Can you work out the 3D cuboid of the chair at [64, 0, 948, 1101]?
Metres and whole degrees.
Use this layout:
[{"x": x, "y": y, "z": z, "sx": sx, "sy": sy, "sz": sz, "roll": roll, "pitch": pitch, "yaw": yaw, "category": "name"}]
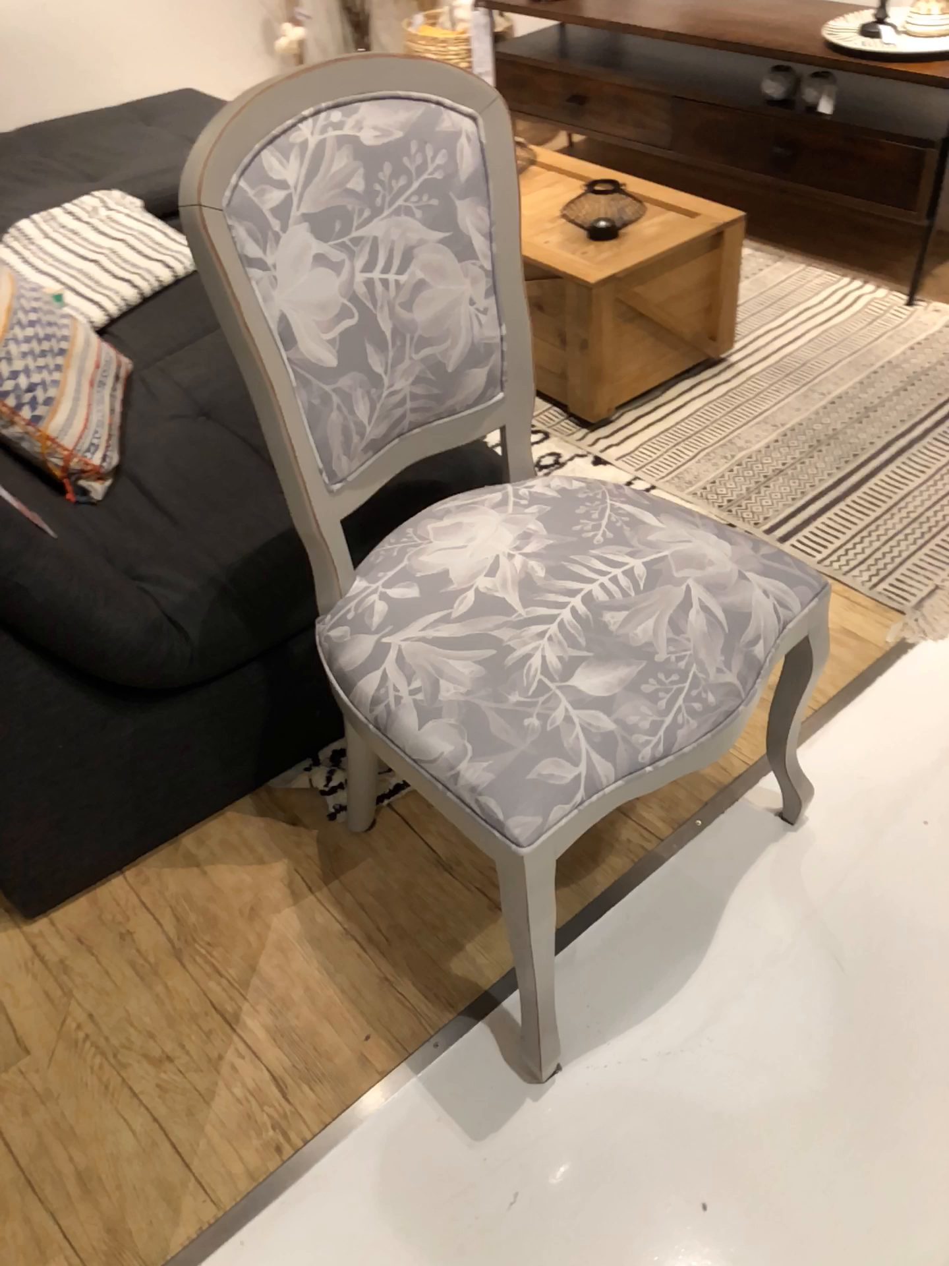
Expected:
[{"x": 0.083, "y": -0.081, "z": 1.158, "sx": 0.572, "sy": 0.942, "sz": 0.533, "roll": -33, "pitch": 49, "yaw": -27, "category": "chair"}]
